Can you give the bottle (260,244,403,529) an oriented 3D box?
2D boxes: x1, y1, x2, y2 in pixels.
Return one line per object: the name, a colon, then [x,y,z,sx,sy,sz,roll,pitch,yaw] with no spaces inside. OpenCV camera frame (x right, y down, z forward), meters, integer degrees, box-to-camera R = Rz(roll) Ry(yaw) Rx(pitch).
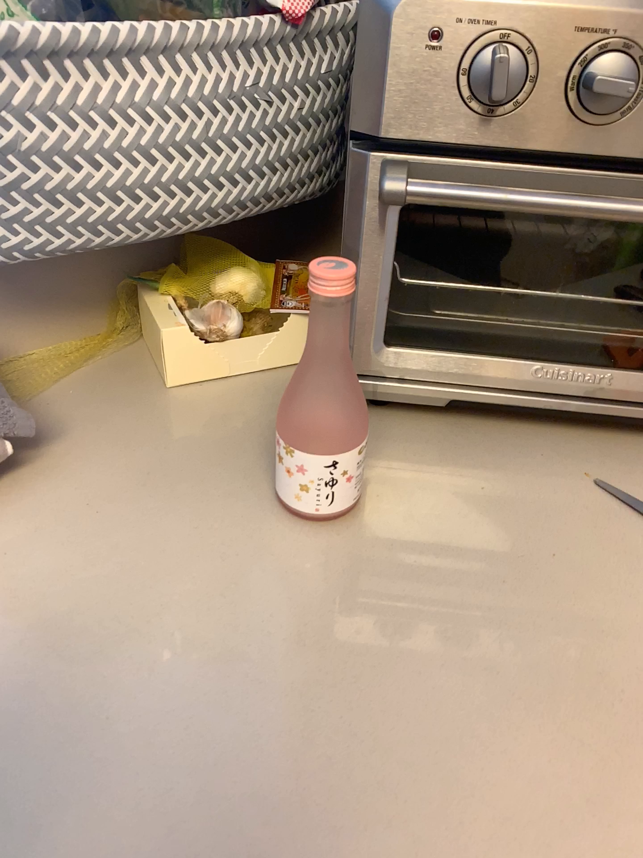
bottle: [0.005,-0.025,0.442,0.070,0.169,0.070,2,36,-1]
